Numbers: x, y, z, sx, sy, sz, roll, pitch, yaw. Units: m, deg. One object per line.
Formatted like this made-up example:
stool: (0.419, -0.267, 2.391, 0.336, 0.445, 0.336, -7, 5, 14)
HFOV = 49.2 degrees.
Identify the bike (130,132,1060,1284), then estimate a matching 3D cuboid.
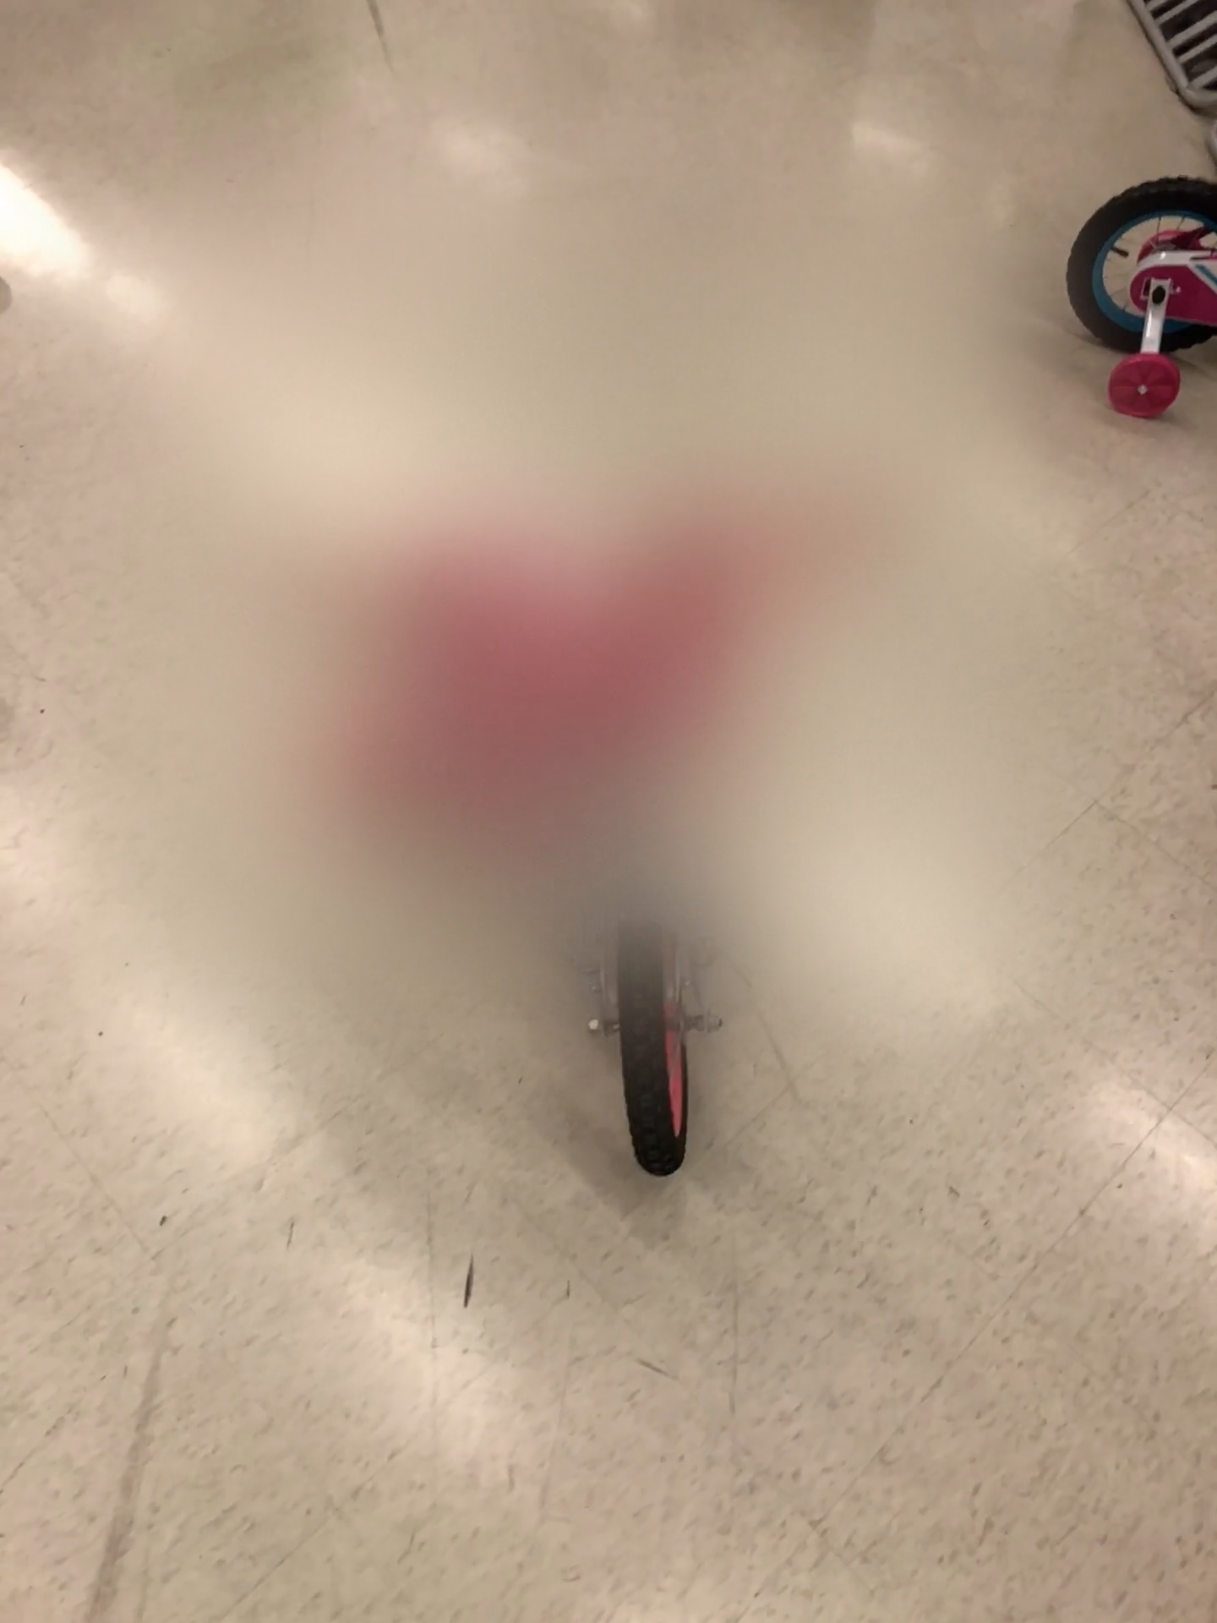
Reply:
bike: (-0.087, -0.103, 1.291, 0.510, 0.680, 0.777, -12, 55, -13)
